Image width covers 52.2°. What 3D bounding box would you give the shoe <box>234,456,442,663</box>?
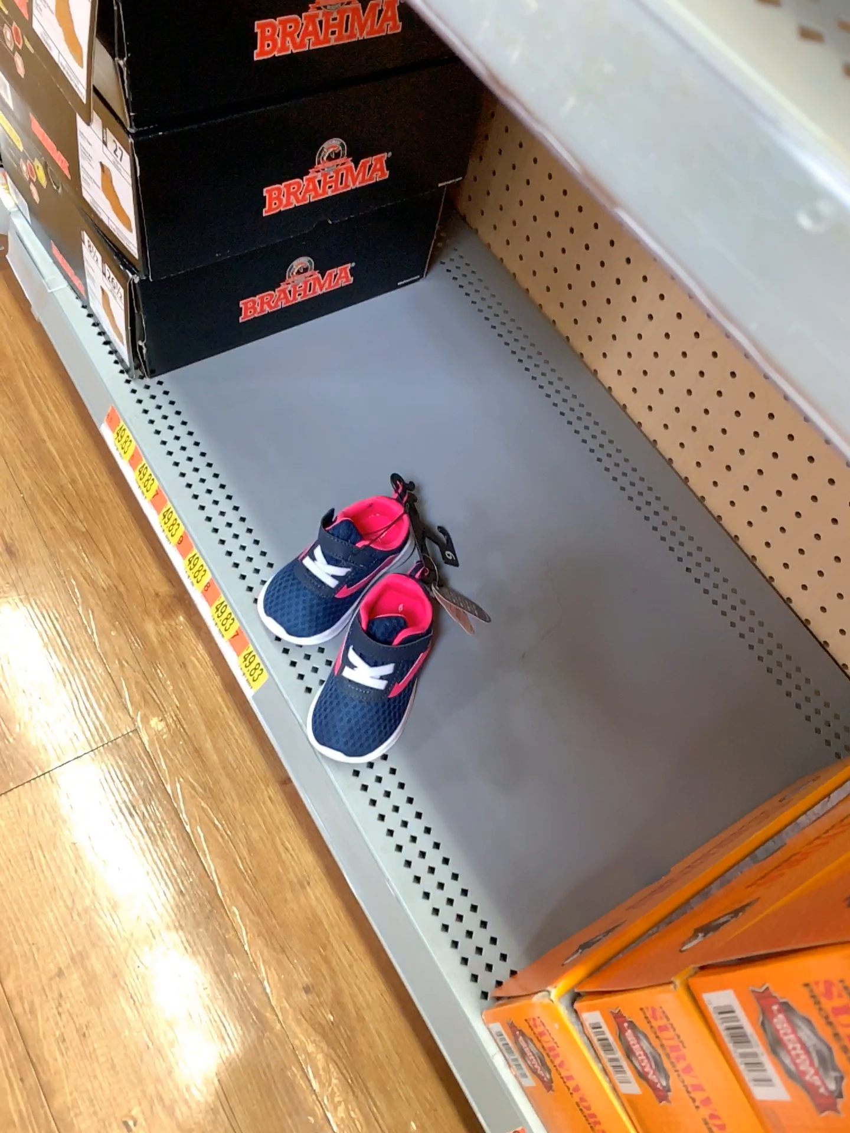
[{"bbox_3d":[-0.068,-0.007,0.677,0.073,0.064,0.145,43,62,13],"label":"shoe"}]

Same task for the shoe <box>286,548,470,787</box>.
[{"bbox_3d":[-0.033,0.073,0.639,0.073,0.064,0.146,25,59,3],"label":"shoe"}]
